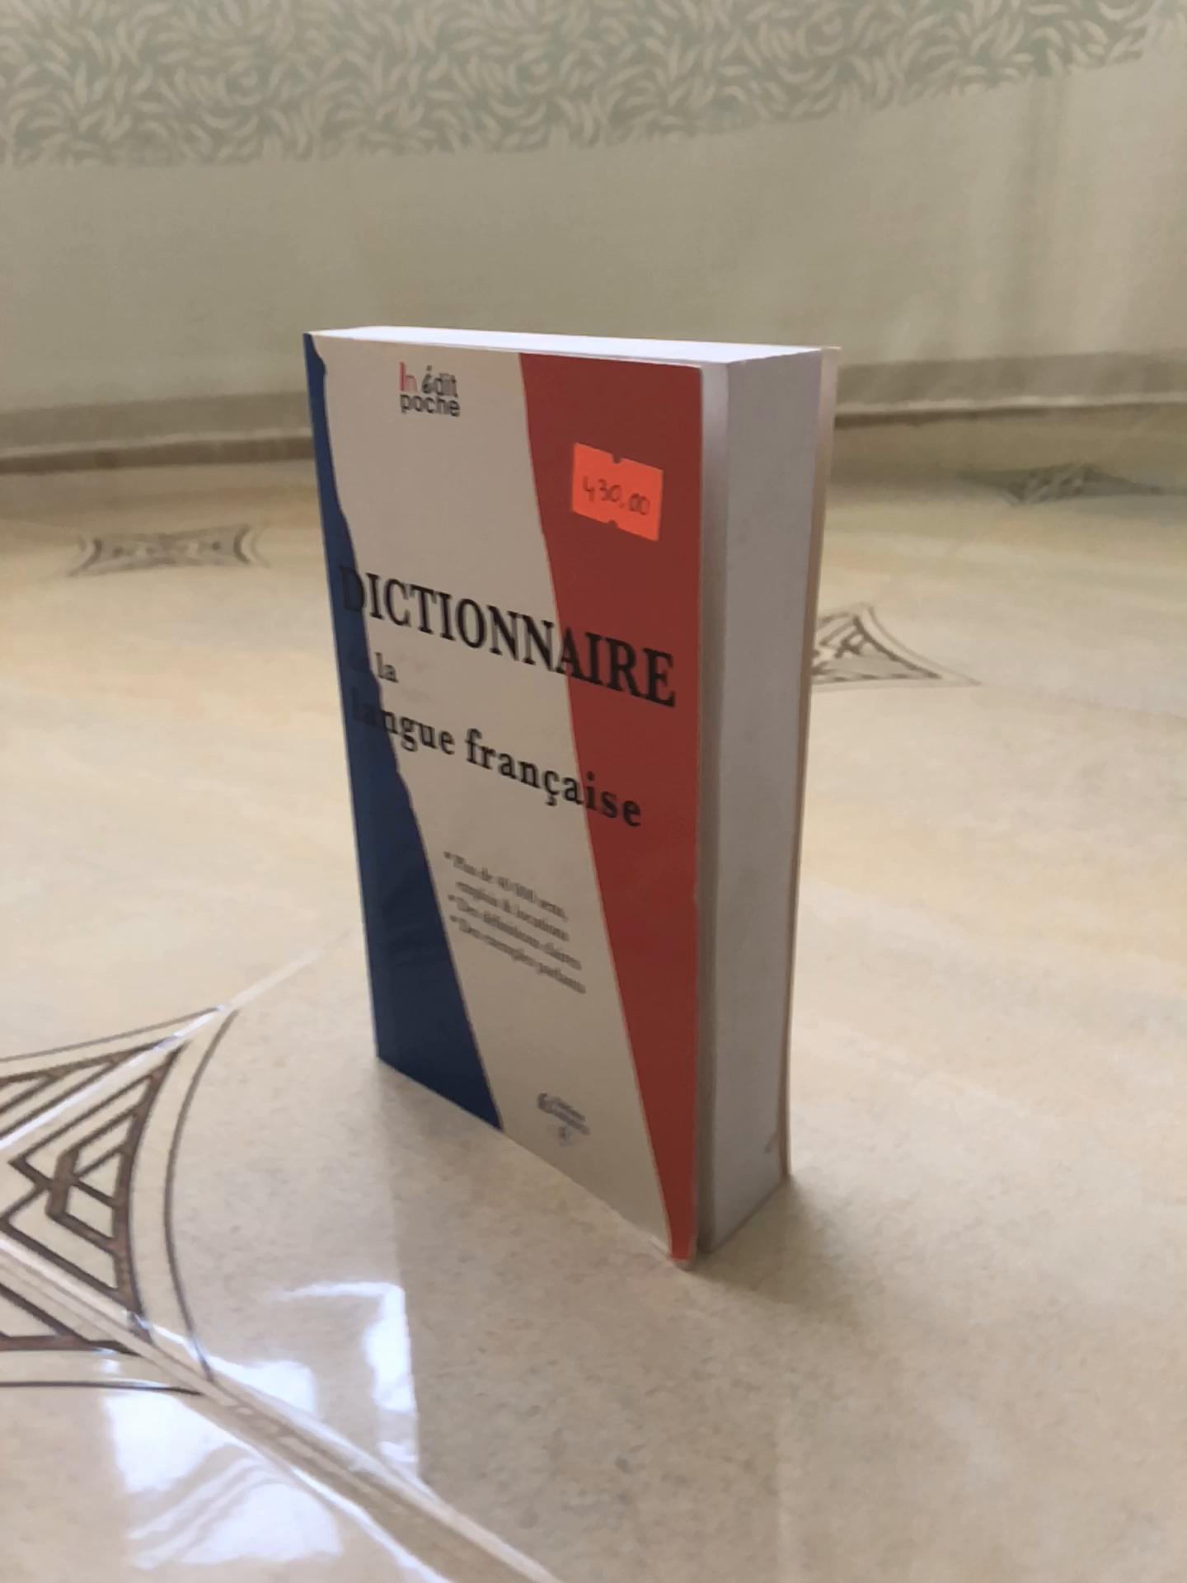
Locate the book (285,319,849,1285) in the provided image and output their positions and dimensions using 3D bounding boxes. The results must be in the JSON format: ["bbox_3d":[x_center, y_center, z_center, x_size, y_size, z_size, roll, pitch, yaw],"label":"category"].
[{"bbox_3d":[-0.009,-0.003,0.288,0.034,0.182,0.121,-23,31,-40],"label":"book"}]
